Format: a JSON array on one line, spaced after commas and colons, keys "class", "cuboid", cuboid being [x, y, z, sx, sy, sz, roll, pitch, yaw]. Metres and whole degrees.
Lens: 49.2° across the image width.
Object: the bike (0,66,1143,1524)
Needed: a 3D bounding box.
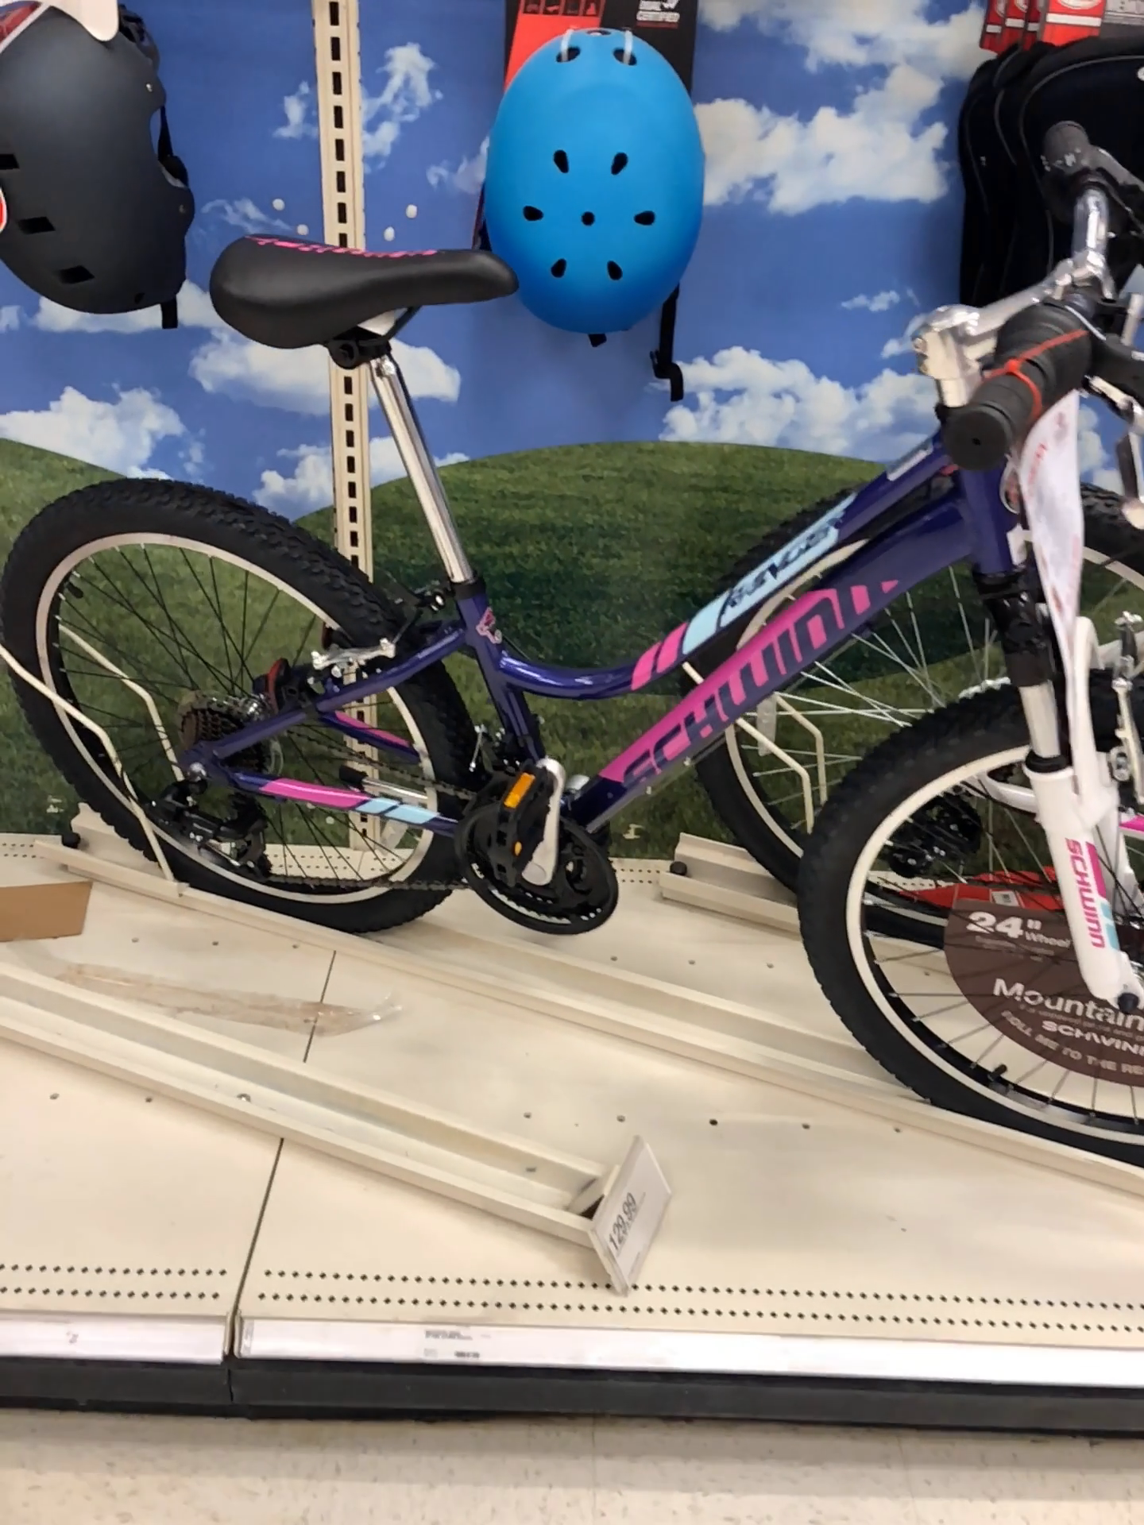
[{"class": "bike", "cuboid": [0.159, -0.084, 1.007, 1.223, 0.798, 0.570, 16, 30, 24]}]
